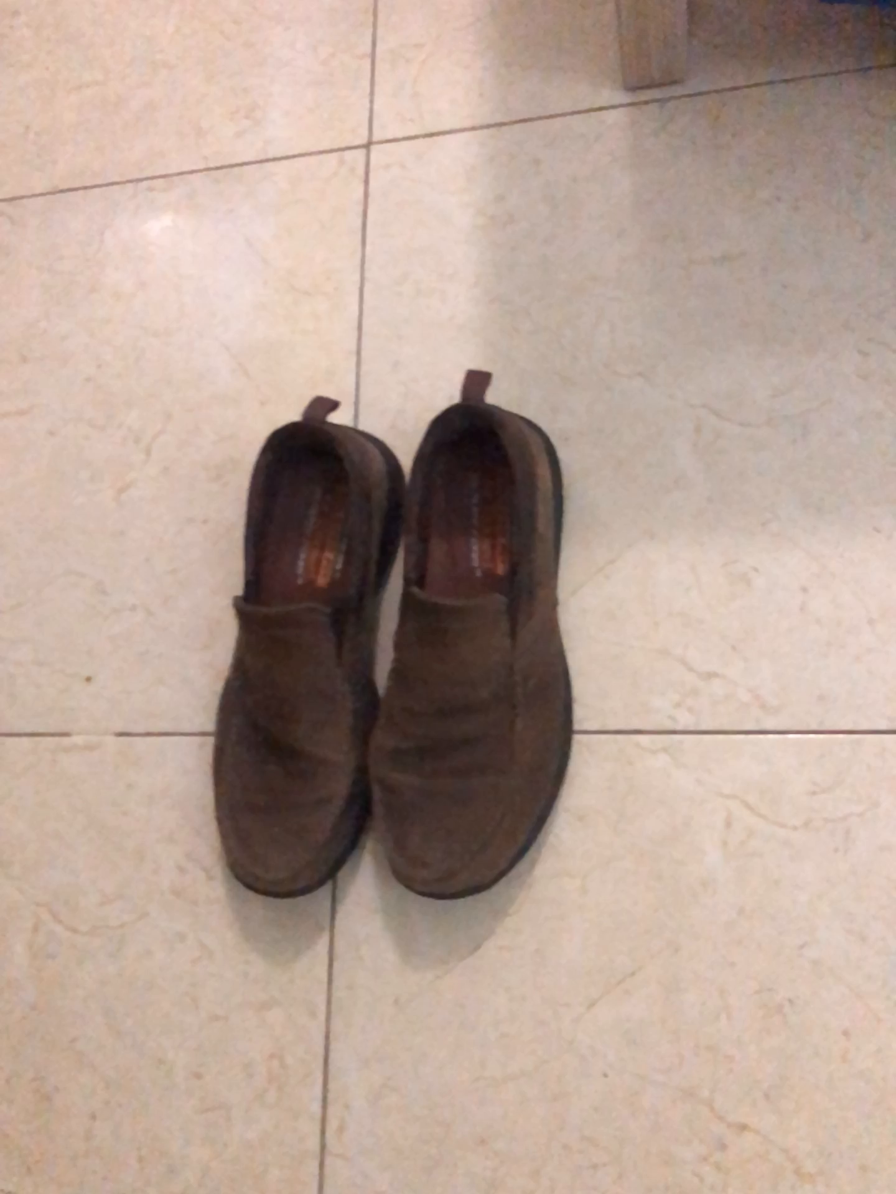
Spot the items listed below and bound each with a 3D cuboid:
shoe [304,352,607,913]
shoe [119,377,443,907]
[{"bbox_3d":[0.014,0.019,0.584,0.130,0.100,0.300,2,77,15],"label":"shoe"},{"bbox_3d":[-0.093,0.025,0.618,0.120,0.100,0.300,5,77,15],"label":"shoe"}]
